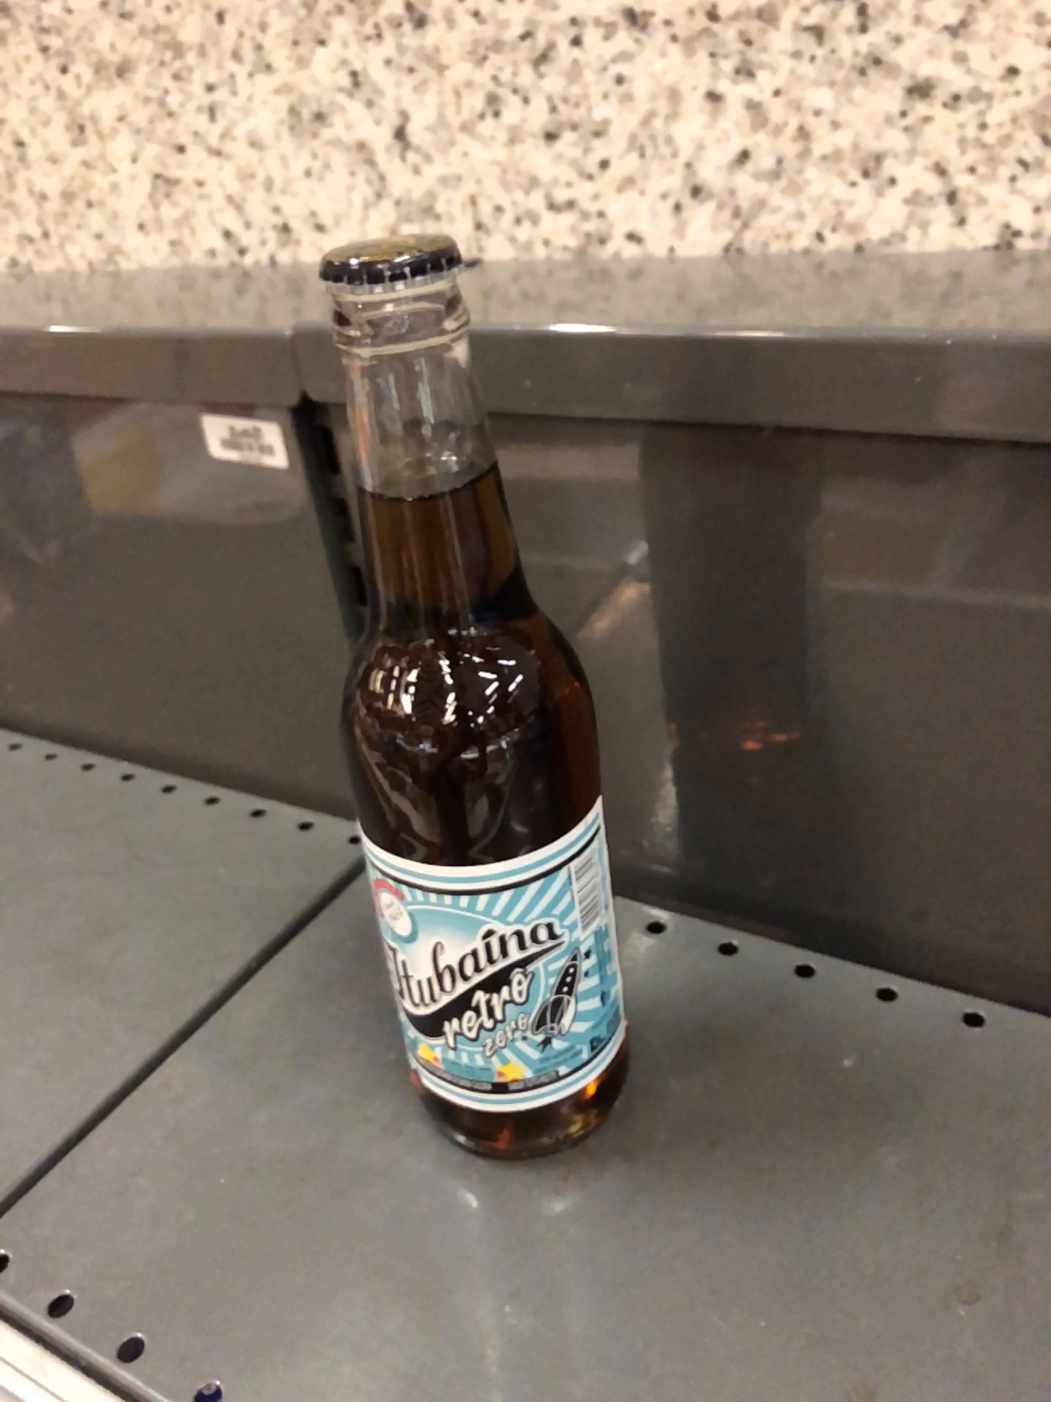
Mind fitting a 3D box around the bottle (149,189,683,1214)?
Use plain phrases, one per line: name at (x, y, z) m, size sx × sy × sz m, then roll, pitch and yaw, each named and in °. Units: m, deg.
bottle at (-0.011, 0.015, 0.276) m, size 0.070 × 0.238 × 0.050 m, roll 4°, pitch 32°, yaw 21°
